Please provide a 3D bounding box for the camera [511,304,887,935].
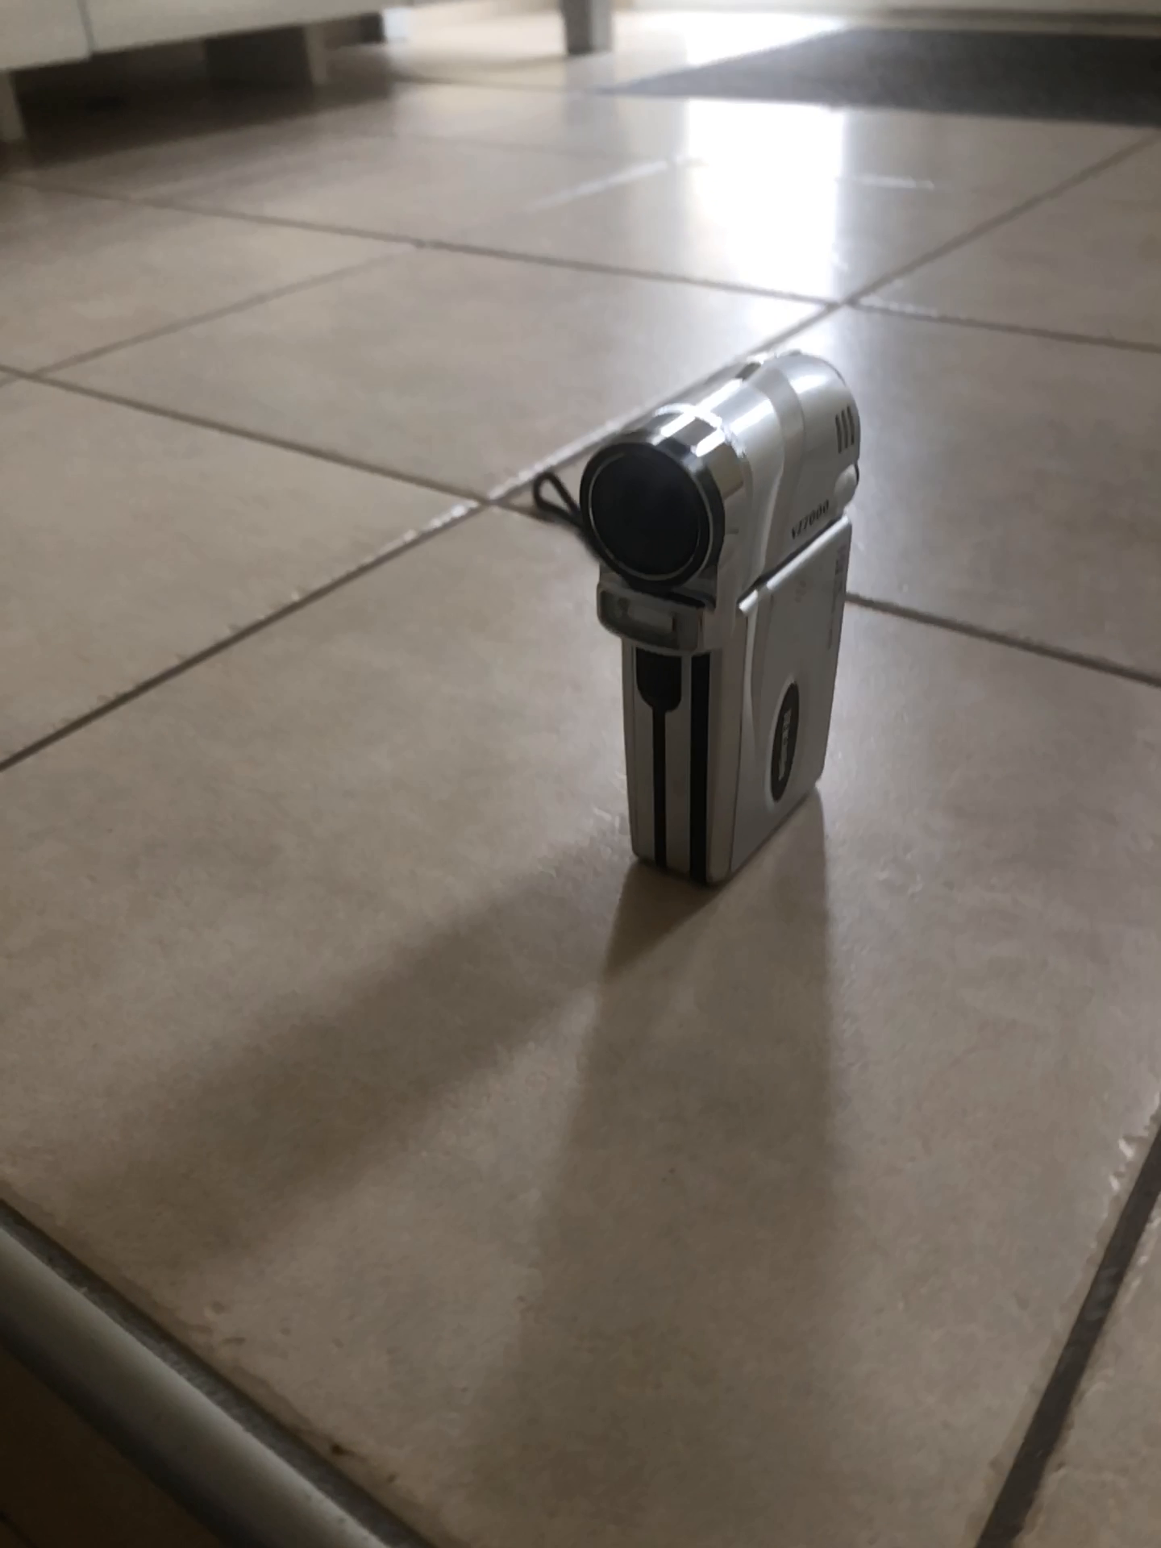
[{"bbox_3d":[0.028,-0.036,0.286,0.040,0.109,0.080,19,40,29],"label":"camera"}]
